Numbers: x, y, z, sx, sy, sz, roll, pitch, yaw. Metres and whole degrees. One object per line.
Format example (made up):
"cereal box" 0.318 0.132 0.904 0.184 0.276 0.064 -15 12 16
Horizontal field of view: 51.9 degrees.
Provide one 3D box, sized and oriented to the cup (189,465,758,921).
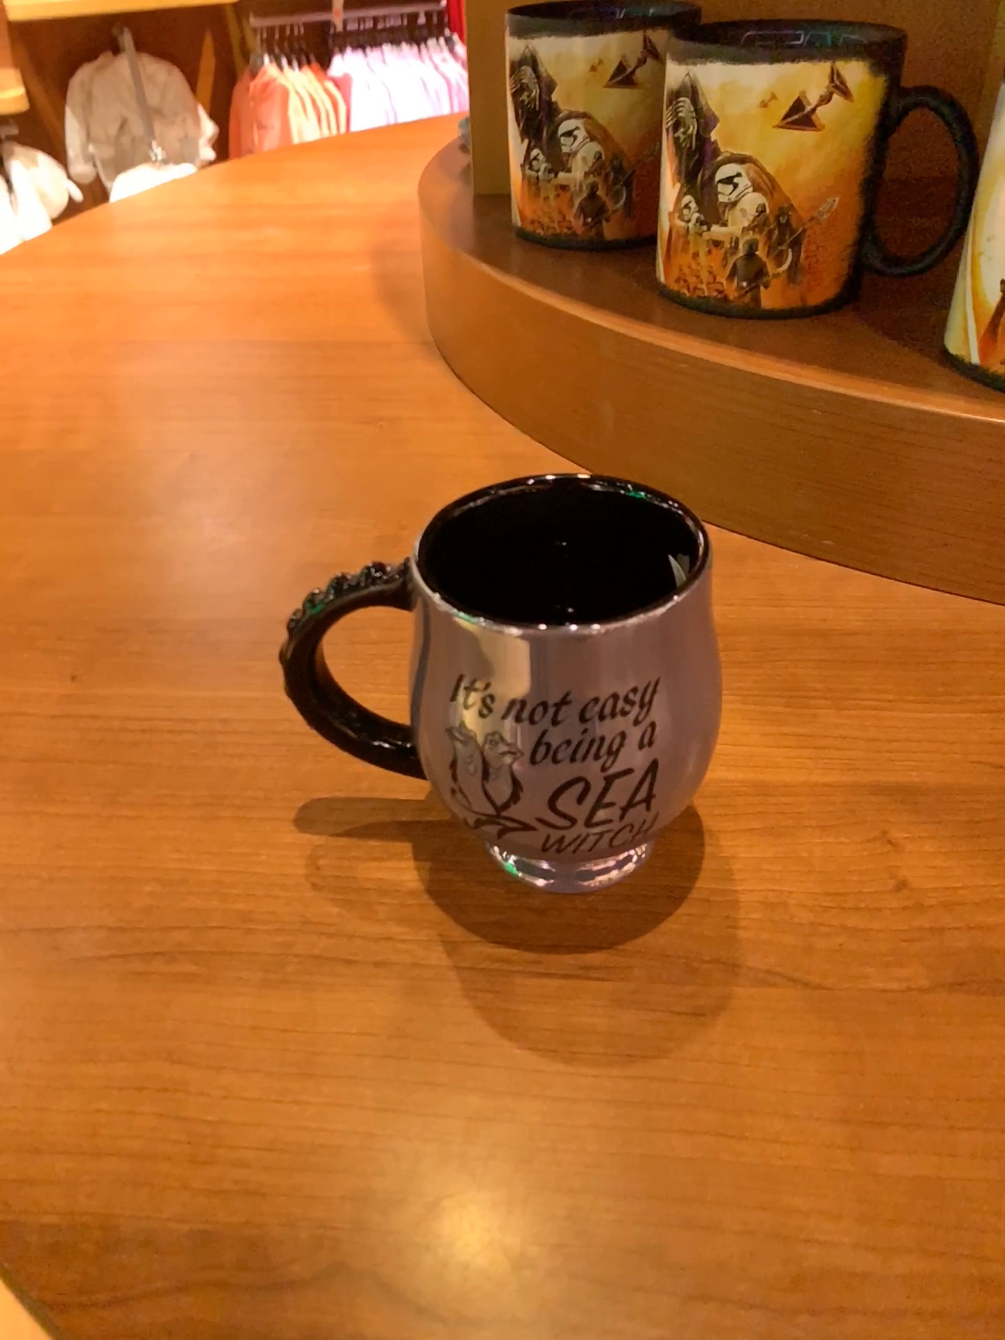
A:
"cup" -0.003 0.004 0.287 0.125 0.089 0.087 0 38 4
